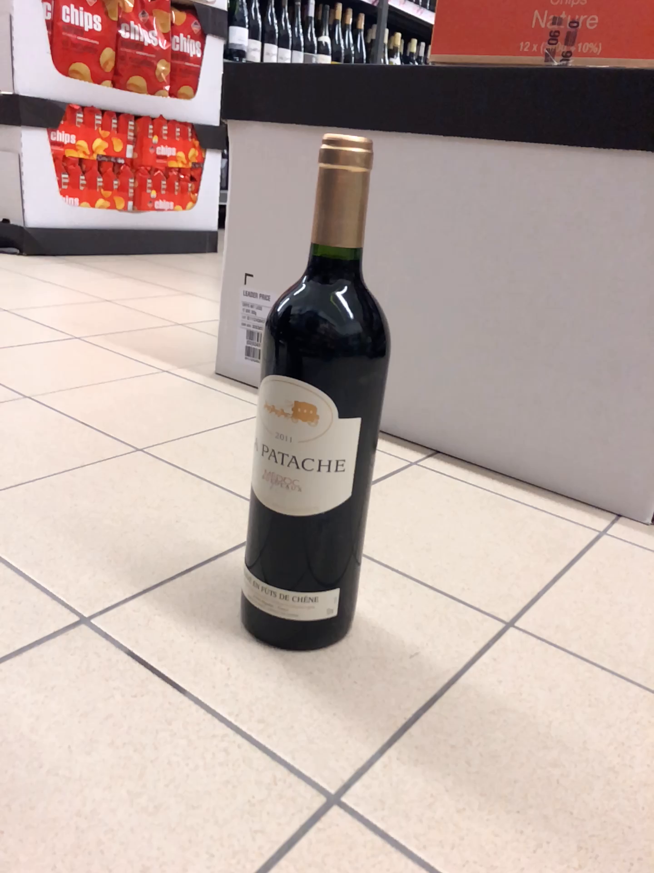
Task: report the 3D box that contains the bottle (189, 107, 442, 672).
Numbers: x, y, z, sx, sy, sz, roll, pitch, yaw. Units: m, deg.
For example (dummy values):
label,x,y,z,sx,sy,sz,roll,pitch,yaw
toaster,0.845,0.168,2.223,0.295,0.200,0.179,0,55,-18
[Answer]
label,x,y,z,sx,sy,sz,roll,pitch,yaw
bottle,-0.012,-0.024,0.412,0.090,0.289,0.080,16,21,25
